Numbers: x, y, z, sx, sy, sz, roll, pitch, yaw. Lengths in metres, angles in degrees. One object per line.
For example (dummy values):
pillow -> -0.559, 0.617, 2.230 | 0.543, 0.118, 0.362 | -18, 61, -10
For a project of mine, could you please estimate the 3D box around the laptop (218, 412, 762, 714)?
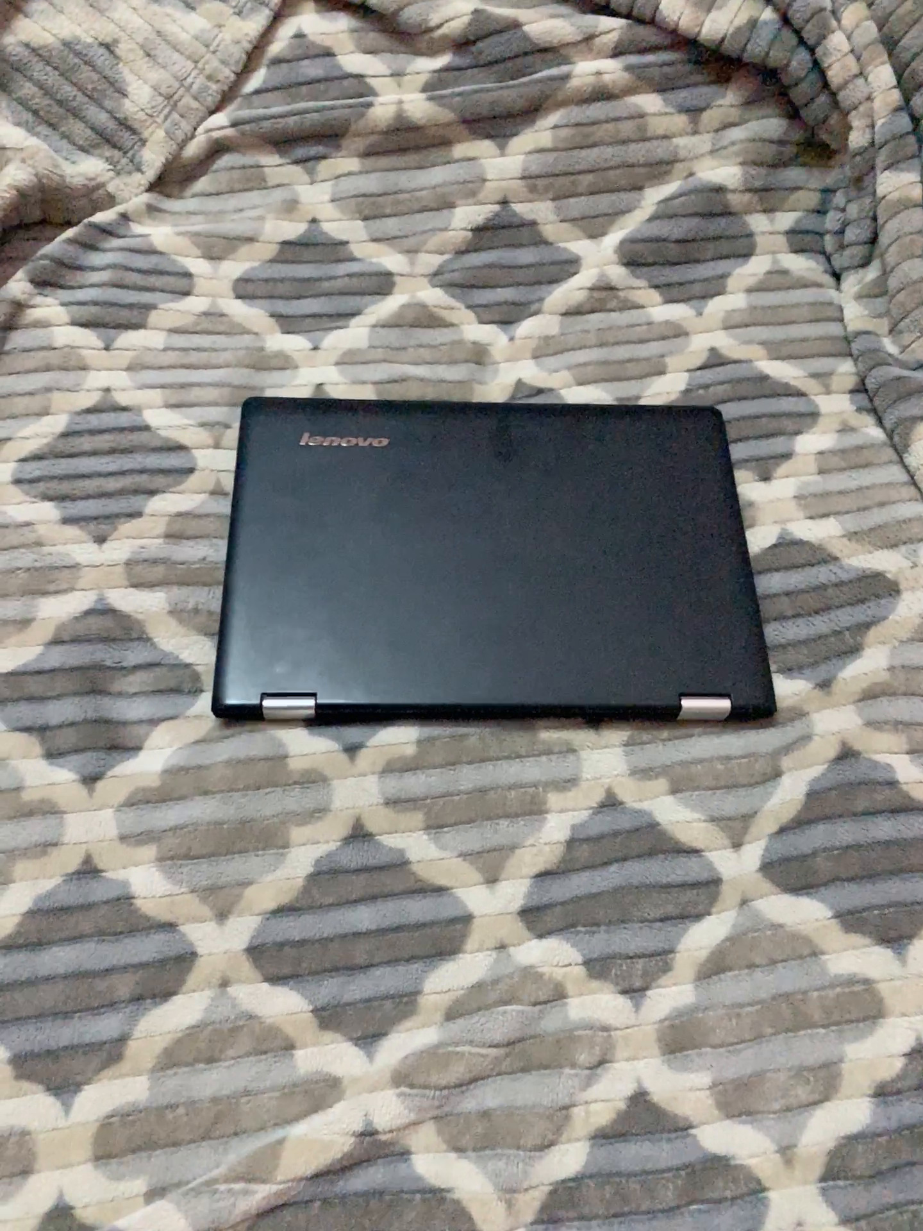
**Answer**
laptop -> 0.020, -0.042, 0.635 | 0.338, 0.003, 0.228 | 1, 63, -4
